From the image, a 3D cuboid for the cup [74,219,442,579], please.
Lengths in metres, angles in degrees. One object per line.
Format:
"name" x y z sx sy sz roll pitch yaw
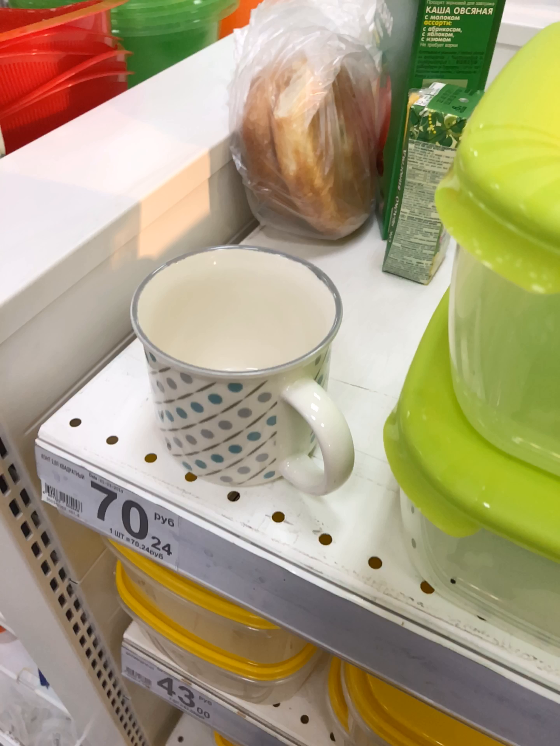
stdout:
"cup" -0.012 0.004 0.294 0.128 0.082 0.096 34 53 29
